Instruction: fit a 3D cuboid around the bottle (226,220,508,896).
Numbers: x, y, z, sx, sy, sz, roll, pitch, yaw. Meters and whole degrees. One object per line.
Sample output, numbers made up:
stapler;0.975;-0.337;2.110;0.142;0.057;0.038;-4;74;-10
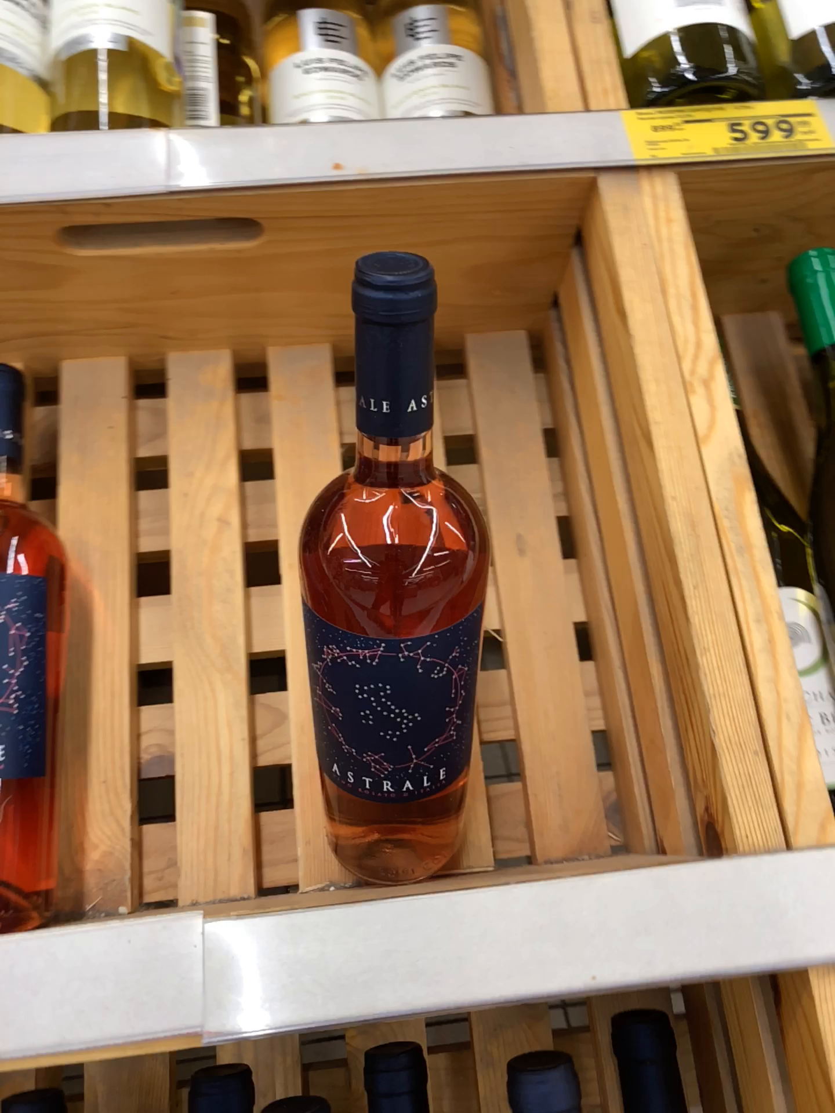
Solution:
bottle;-0.014;0.021;0.381;0.080;0.288;0.080;0;37;0
